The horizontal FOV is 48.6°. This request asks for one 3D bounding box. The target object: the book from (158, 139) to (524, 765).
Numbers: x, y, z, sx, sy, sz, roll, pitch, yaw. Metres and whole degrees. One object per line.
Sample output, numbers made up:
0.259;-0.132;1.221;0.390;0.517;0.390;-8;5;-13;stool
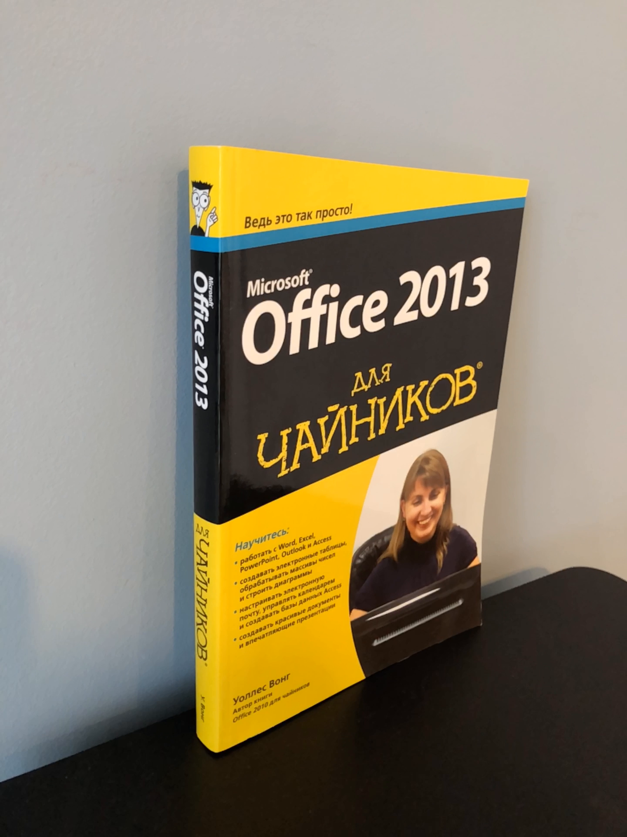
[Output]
0.016;0.010;0.306;0.165;0.233;0.031;-11;21;-38;book
